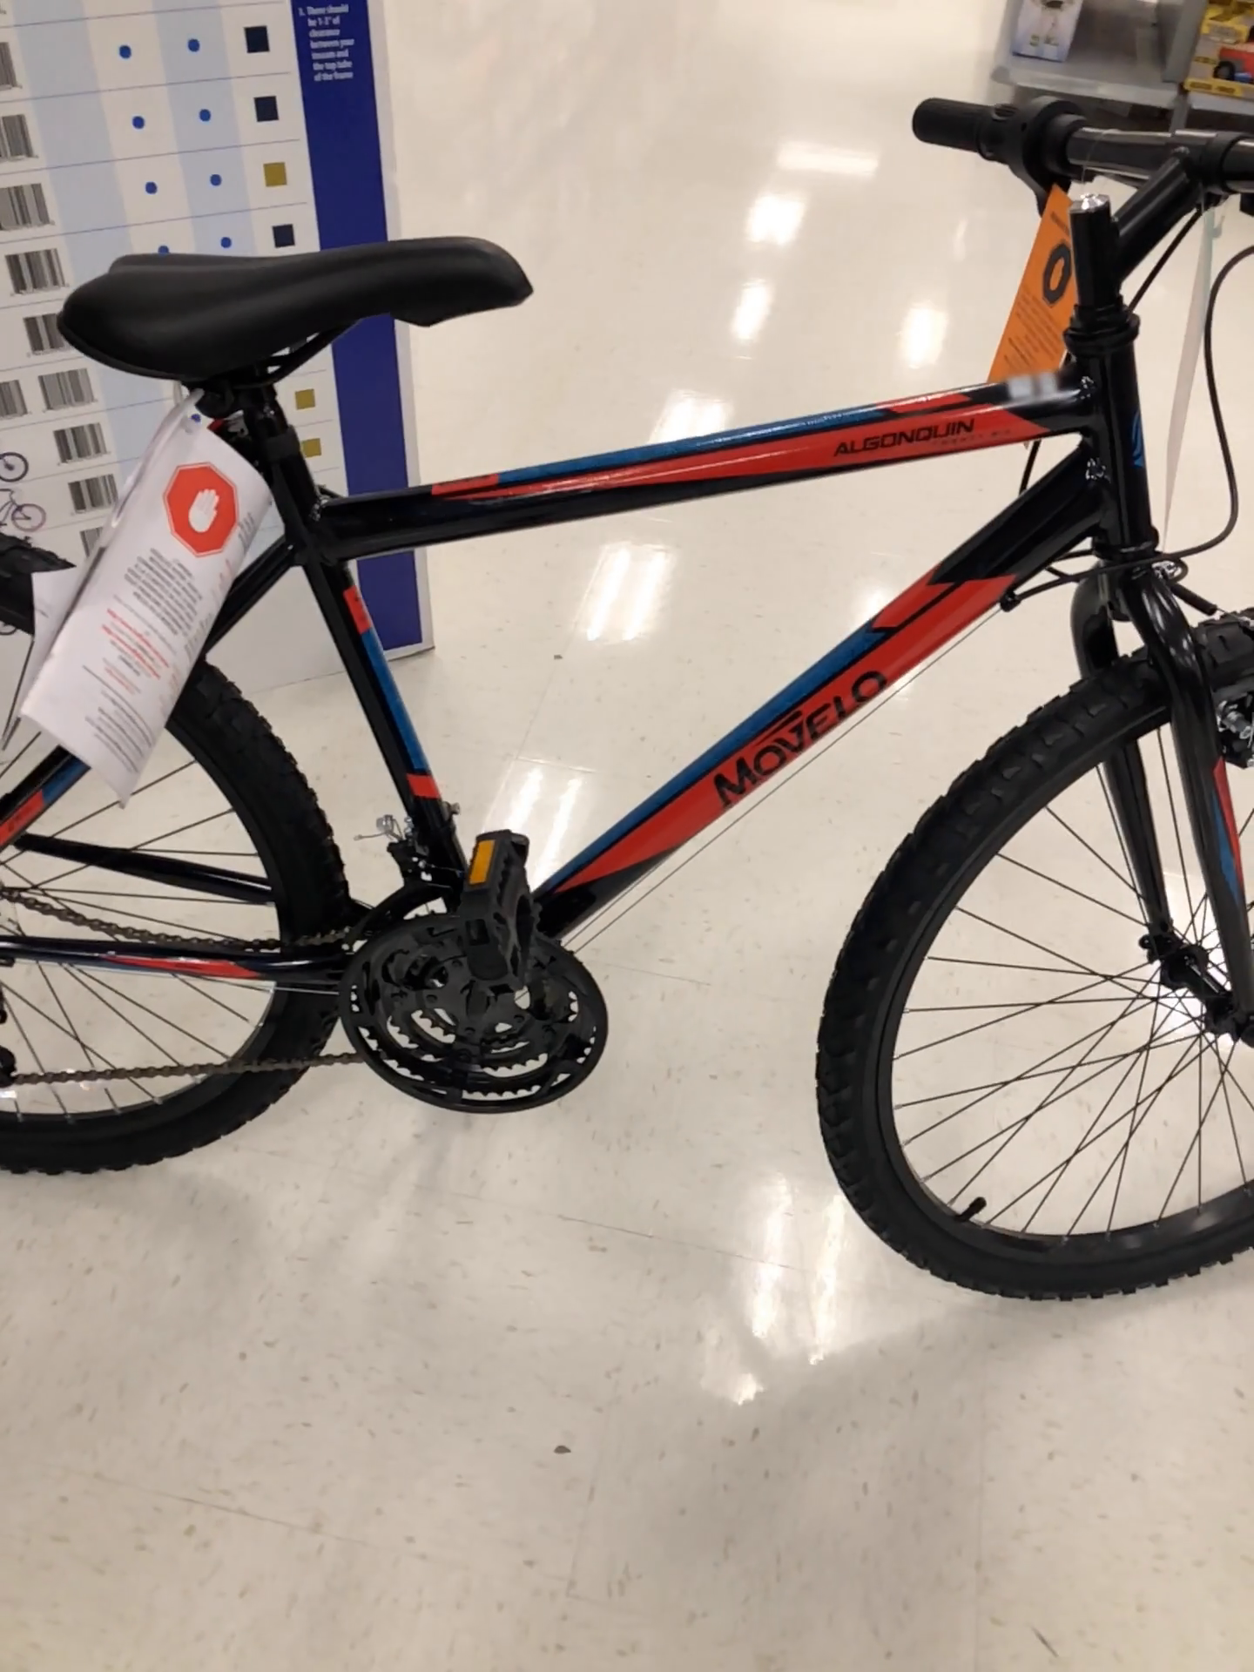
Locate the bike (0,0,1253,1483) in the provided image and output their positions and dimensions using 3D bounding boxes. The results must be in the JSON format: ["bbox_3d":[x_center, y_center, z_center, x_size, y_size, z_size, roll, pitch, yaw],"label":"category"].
[{"bbox_3d":[0.138,-0.071,0.945,1.284,0.942,0.562,3,44,1],"label":"bike"}]
